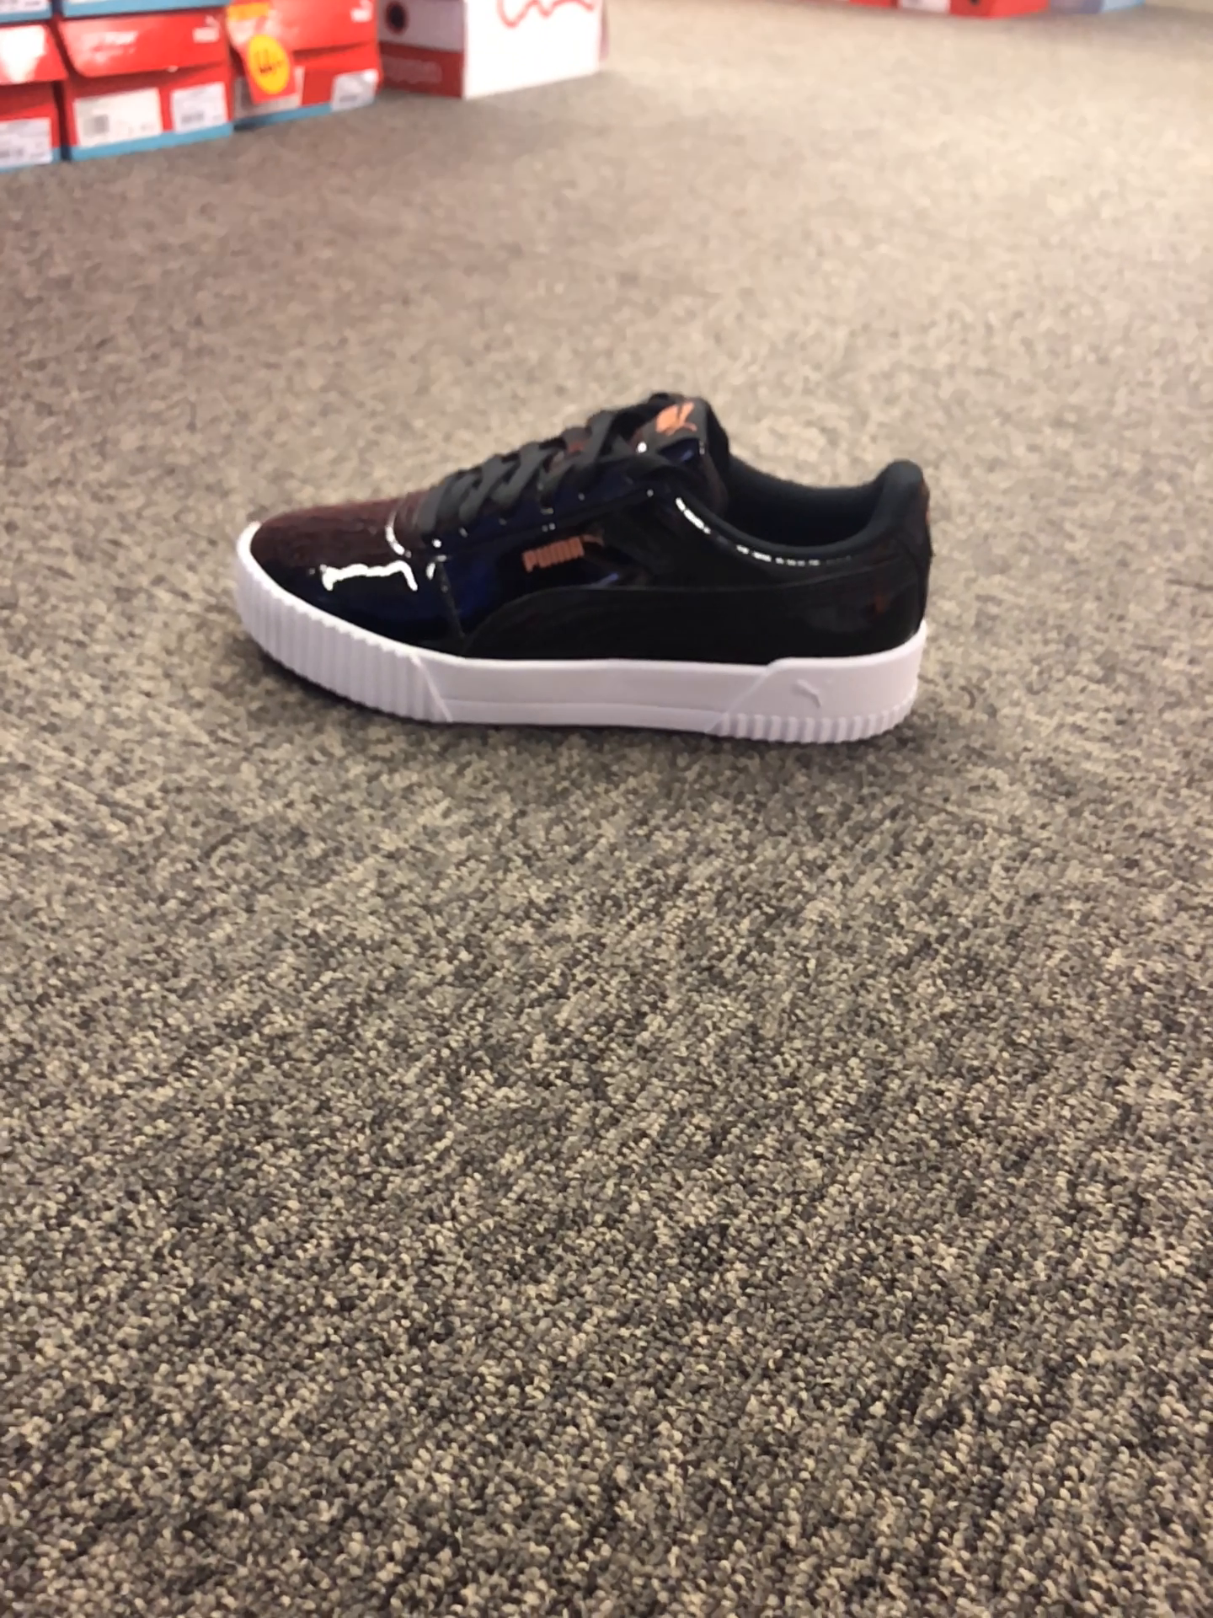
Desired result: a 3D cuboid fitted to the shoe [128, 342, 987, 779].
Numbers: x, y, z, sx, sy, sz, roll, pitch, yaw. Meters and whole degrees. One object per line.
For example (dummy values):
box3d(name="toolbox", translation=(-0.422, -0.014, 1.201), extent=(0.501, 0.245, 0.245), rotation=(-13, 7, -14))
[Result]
box3d(name="shoe", translation=(-0.012, -0.091, 0.471), extent=(0.260, 0.099, 0.101), rotation=(5, 36, 6))
